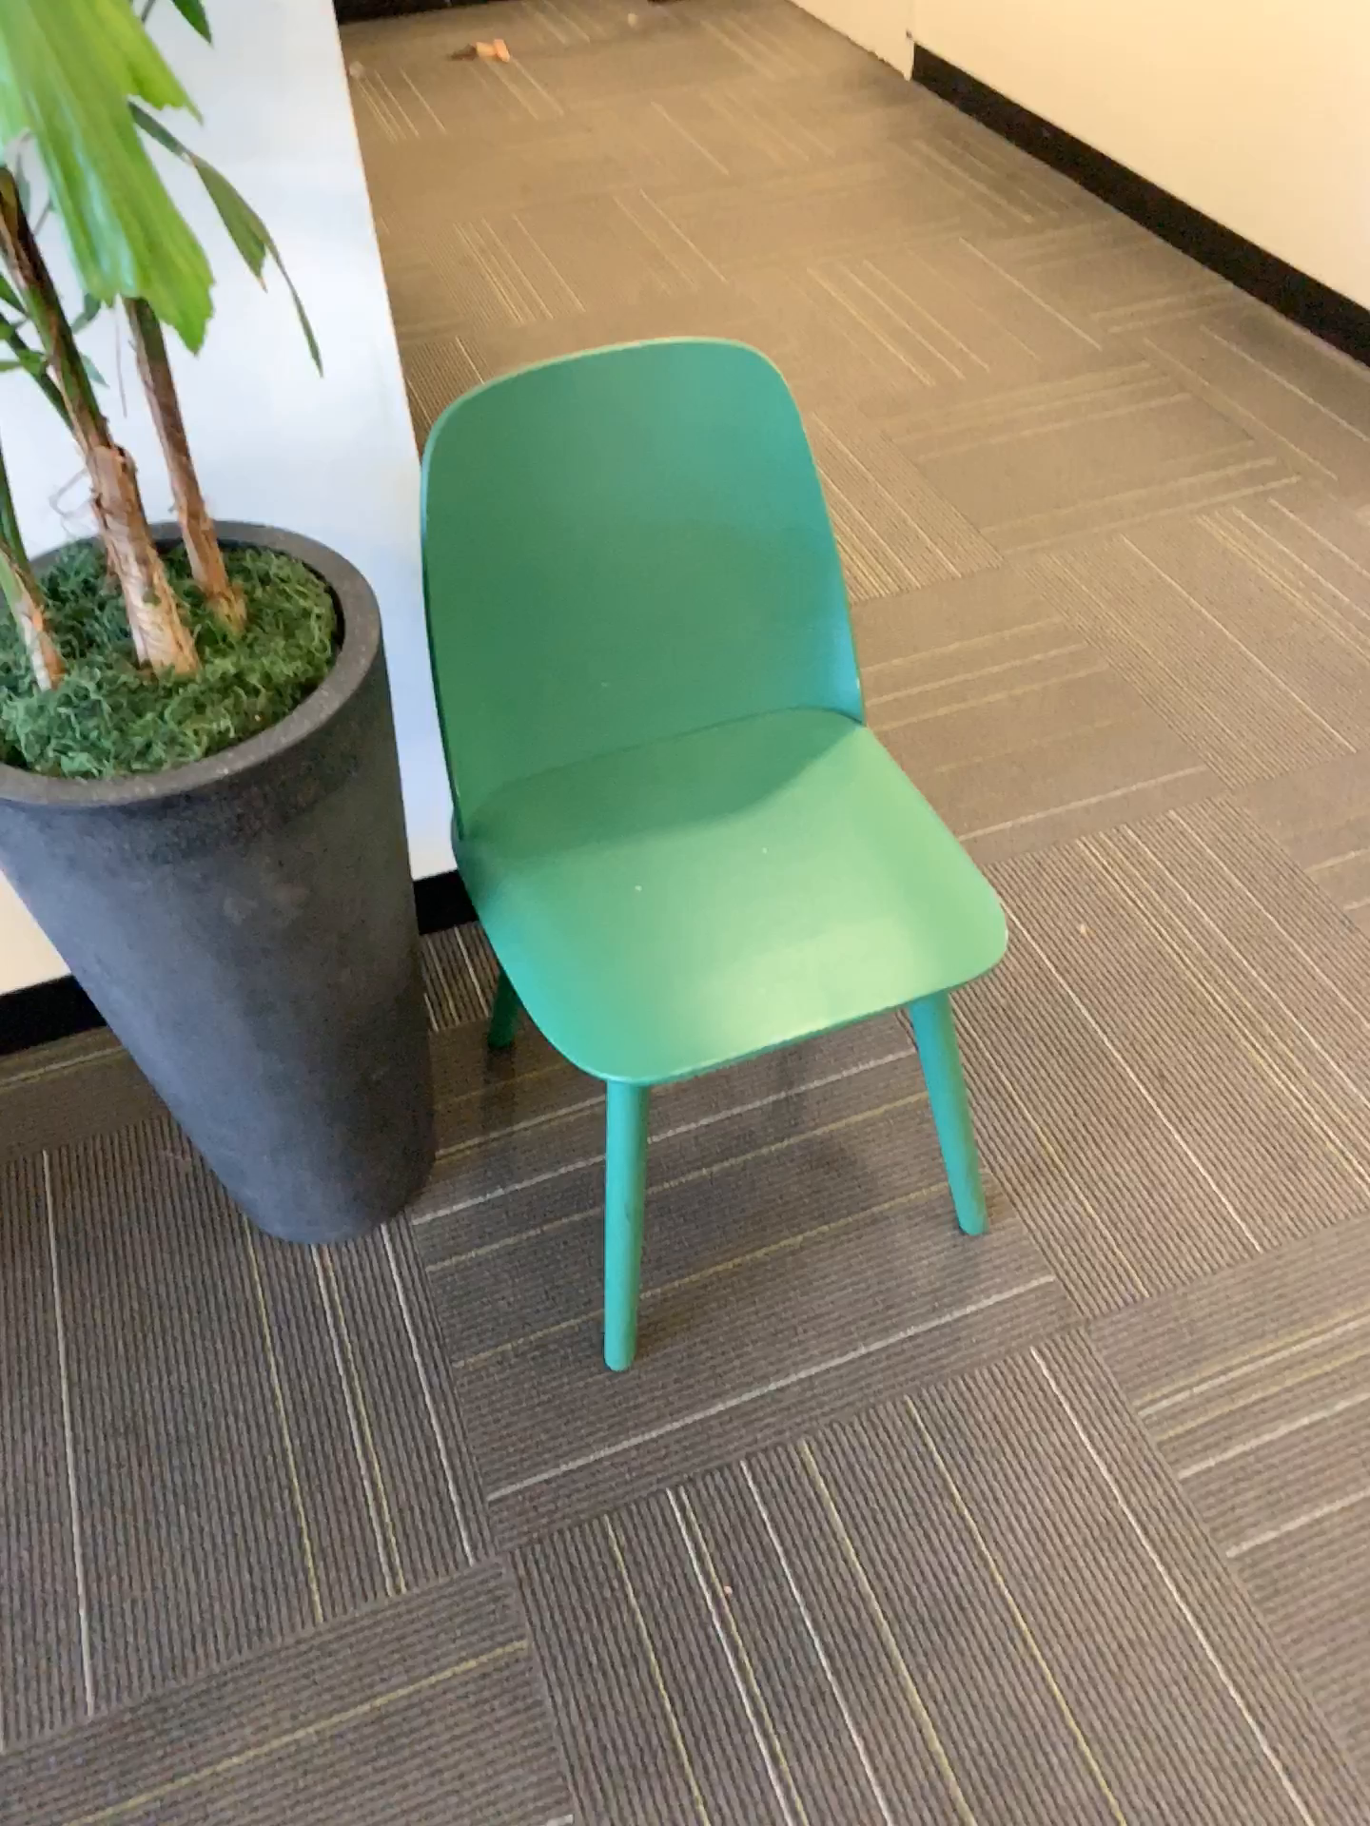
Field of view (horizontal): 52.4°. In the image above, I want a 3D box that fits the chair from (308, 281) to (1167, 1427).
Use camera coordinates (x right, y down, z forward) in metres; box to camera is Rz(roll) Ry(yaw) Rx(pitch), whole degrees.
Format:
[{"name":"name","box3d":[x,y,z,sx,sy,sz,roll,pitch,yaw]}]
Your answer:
[{"name":"chair","box3d":[-0.011,-0.070,1.232,0.390,0.627,0.714,-16,48,-12]}]
